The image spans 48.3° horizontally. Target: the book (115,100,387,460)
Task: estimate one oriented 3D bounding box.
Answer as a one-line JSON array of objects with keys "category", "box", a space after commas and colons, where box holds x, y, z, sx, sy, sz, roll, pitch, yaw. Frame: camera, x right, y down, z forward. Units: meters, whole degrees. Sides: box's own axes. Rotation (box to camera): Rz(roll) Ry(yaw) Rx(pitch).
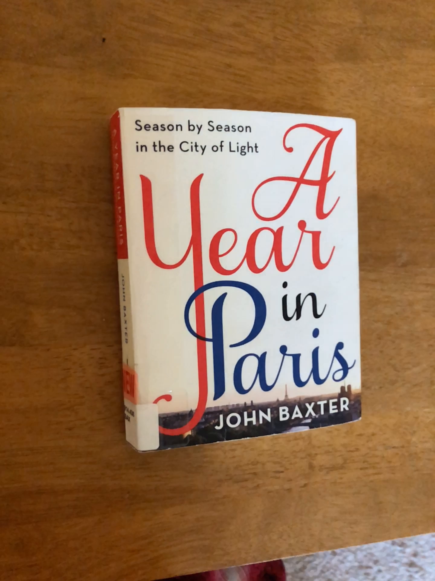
[{"category": "book", "box": [0.023, -0.008, 0.287, 0.150, 0.040, 0.182, -4, 95, -18]}]
